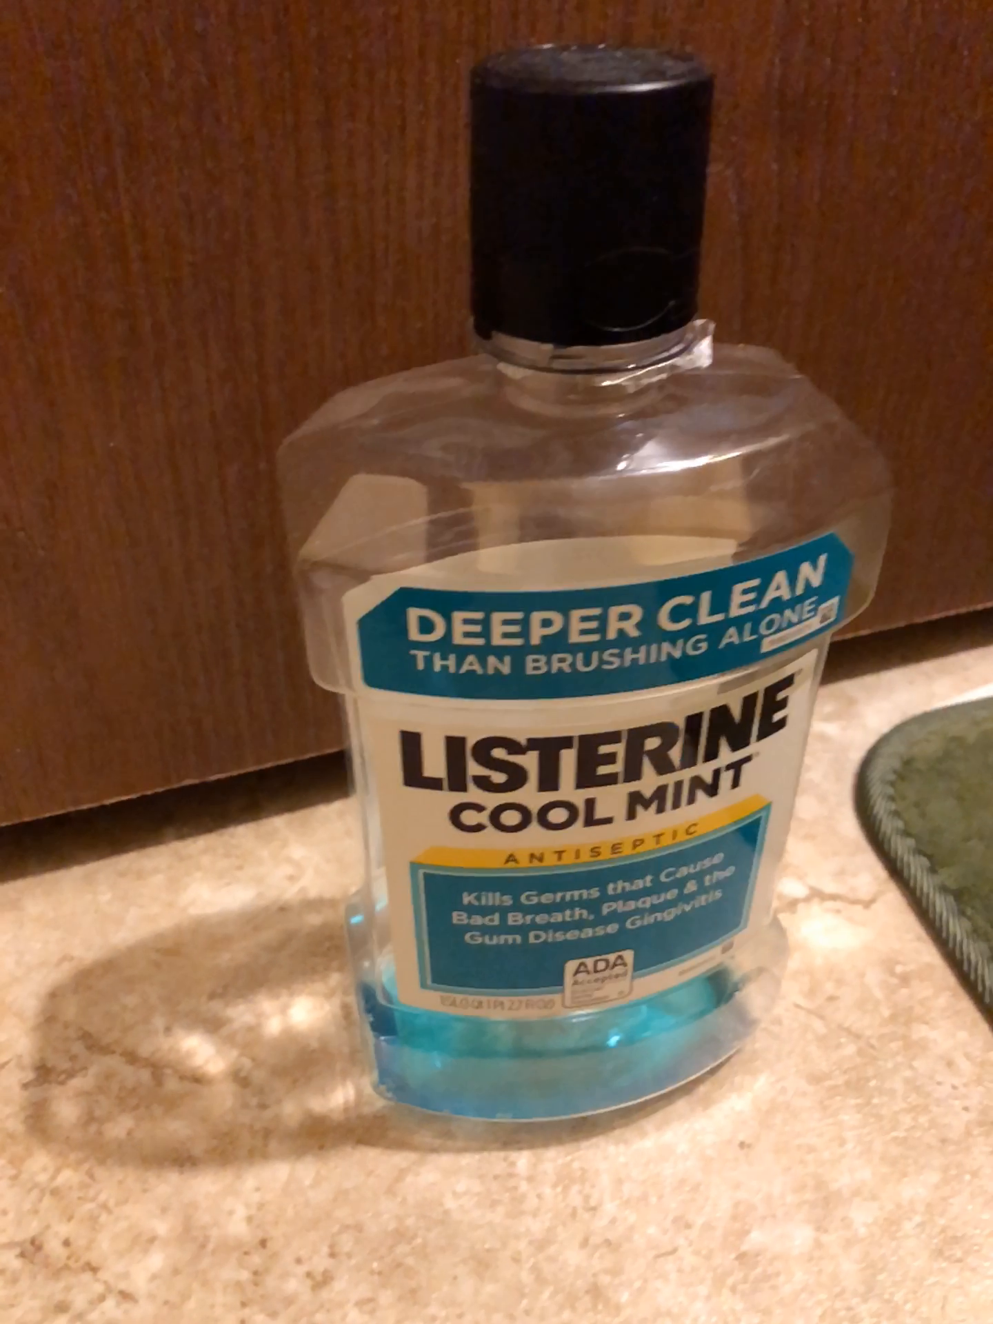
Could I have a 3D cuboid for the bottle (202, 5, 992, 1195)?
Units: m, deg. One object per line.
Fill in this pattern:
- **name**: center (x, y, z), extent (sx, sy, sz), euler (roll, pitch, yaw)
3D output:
- **bottle**: center (0.024, -0.001, 0.231), extent (0.130, 0.219, 0.090), euler (-8, 38, -10)
